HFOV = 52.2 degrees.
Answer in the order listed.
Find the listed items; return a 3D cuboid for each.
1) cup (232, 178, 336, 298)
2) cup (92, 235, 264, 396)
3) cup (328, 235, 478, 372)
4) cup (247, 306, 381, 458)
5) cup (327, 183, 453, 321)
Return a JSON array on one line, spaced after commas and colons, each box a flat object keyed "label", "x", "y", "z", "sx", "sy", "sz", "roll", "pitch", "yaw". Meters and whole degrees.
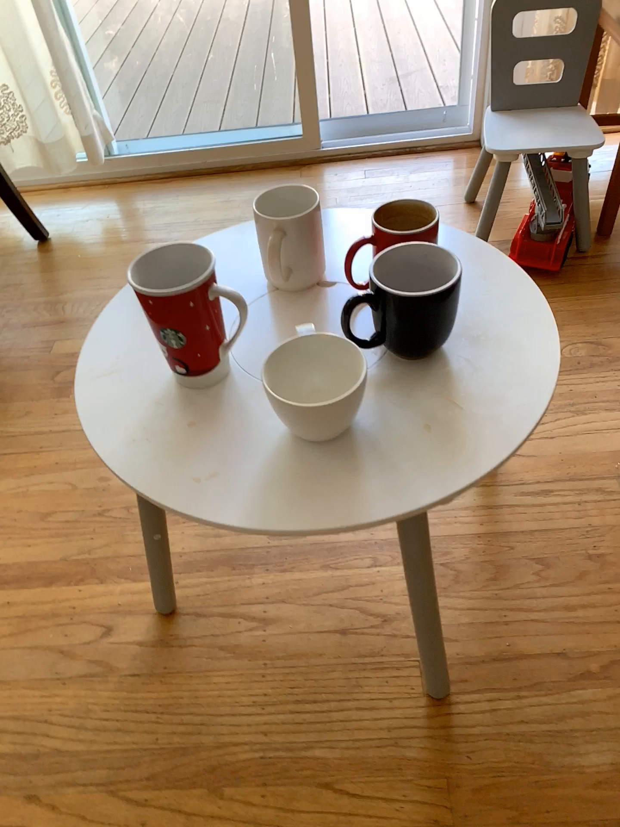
[{"label": "cup", "x": -0.026, "y": -0.213, "z": 0.768, "sx": 0.100, "sy": 0.090, "sz": 0.120, "roll": 2, "pitch": 47, "yaw": 9}, {"label": "cup", "x": -0.133, "y": -0.105, "z": 0.679, "sx": 0.130, "sy": 0.129, "sz": 0.100, "roll": 5, "pitch": 48, "yaw": 11}, {"label": "cup", "x": 0.094, "y": -0.117, "z": 0.669, "sx": 0.130, "sy": 0.080, "sz": 0.100, "roll": -9, "pitch": 46, "yaw": -2}, {"label": "cup", "x": 0.002, "y": -0.034, "z": 0.617, "sx": 0.110, "sy": 0.060, "sz": 0.131, "roll": -9, "pitch": 46, "yaw": -2}, {"label": "cup", "x": 0.095, "y": -0.195, "z": 0.759, "sx": 0.120, "sy": 0.100, "sz": 0.080, "roll": -31, "pitch": 51, "yaw": -21}]
